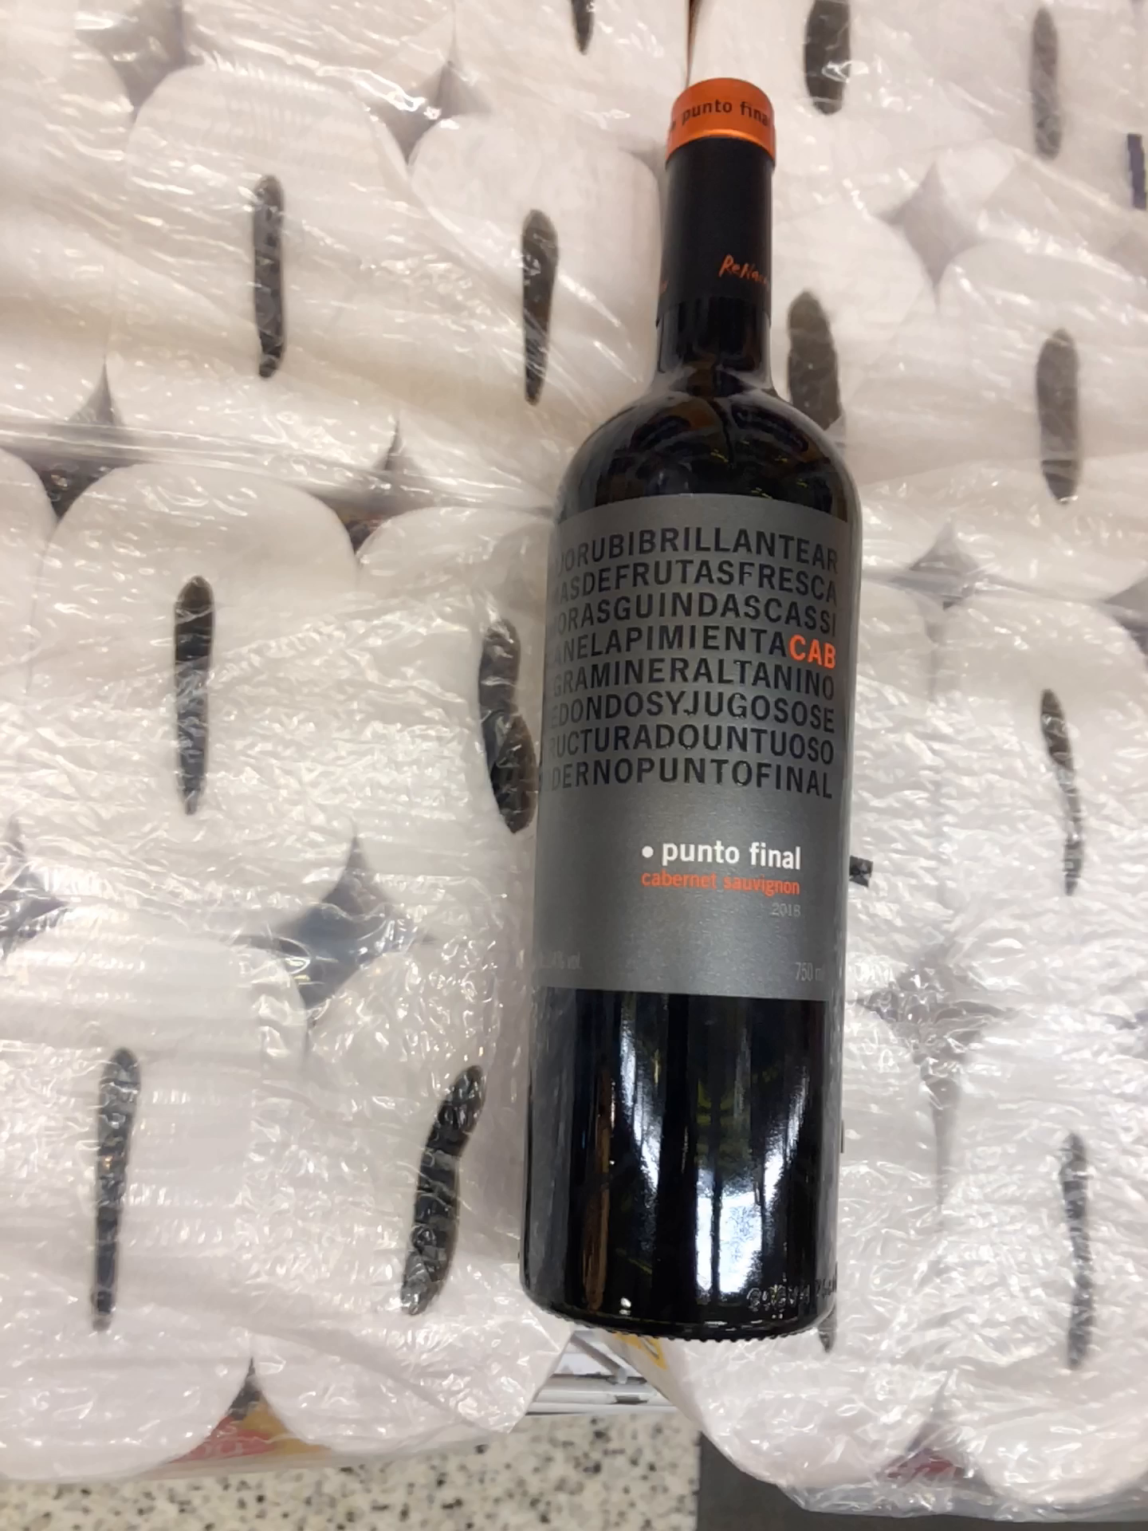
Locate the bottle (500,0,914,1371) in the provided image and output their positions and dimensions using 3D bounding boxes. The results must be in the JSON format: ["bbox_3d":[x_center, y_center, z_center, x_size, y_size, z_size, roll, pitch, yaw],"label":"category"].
[{"bbox_3d":[0.032,-0.034,0.298,0.070,0.060,0.310,6,78,-13],"label":"bottle"}]
